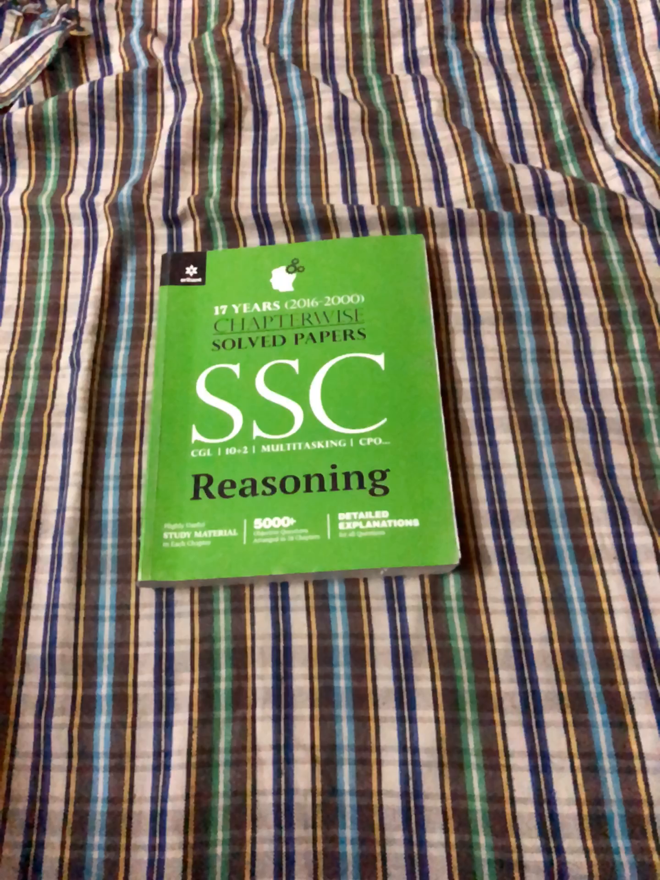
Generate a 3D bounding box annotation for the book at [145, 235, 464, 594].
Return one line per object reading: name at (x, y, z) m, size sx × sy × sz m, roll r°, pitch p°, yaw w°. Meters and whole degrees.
book at (-0.020, -0.027, 0.554) m, size 0.210 × 0.040 × 0.270 m, roll -3°, pitch 66°, yaw 3°
